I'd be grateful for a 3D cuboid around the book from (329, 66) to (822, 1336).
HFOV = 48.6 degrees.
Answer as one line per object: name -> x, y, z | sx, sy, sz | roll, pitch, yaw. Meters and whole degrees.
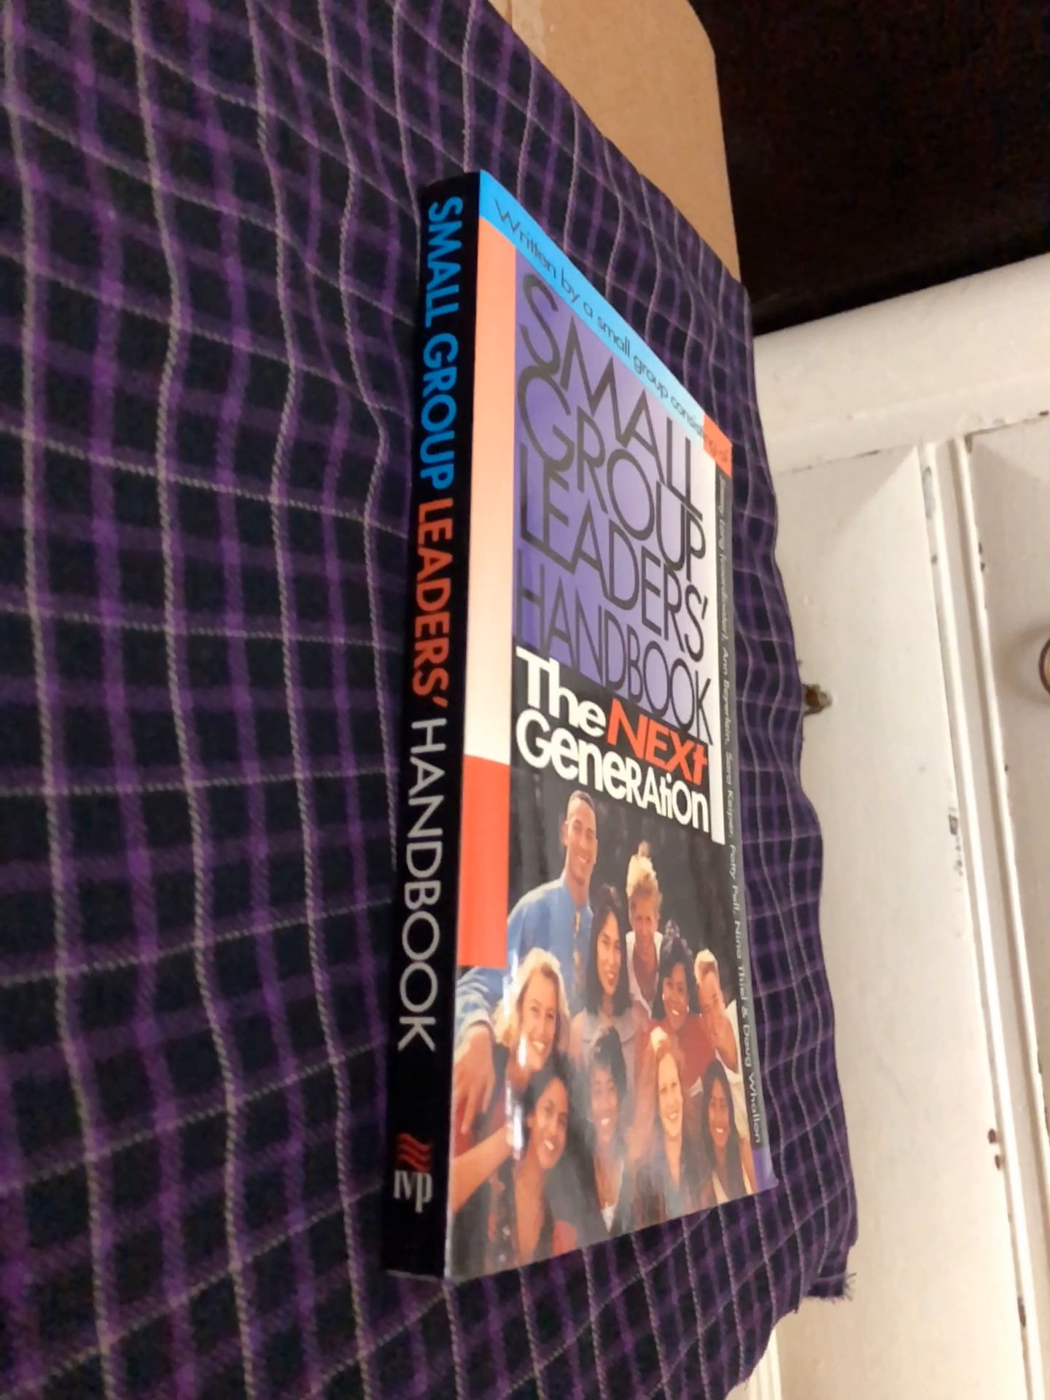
book -> 0.022, 0.003, 0.263 | 0.151, 0.030, 0.220 | 25, 61, -55
